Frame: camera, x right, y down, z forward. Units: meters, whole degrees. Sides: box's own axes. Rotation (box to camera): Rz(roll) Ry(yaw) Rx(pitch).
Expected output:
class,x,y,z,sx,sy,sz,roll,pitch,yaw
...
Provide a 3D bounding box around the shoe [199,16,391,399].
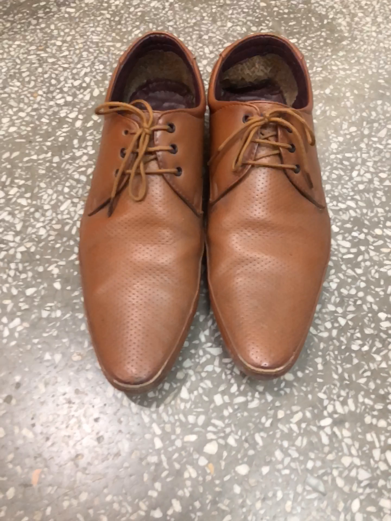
class,x,y,z,sx,sy,sz,roll,pitch,yaw
shoe,0.057,-0.048,0.346,0.105,0.118,0.285,1,63,0

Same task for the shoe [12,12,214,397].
class,x,y,z,sx,sy,sz,roll,pitch,yaw
shoe,-0.042,-0.050,0.343,0.105,0.118,0.285,1,63,0
